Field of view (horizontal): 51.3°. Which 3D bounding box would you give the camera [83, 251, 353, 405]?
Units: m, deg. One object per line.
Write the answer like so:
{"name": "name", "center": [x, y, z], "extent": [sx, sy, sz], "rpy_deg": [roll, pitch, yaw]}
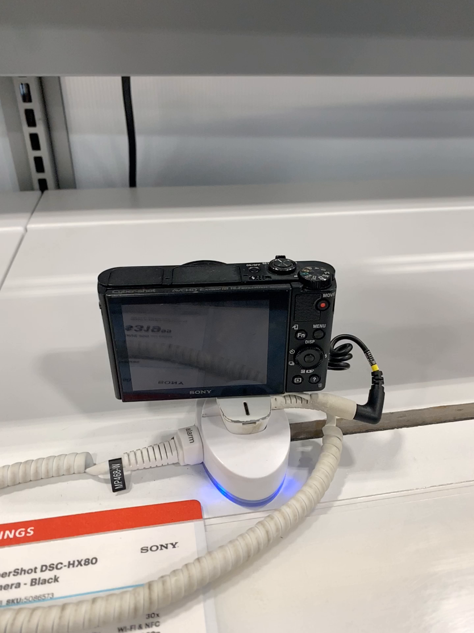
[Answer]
{"name": "camera", "center": [-0.009, 0.004, 0.220], "extent": [0.104, 0.052, 0.040], "rpy_deg": [-1, 32, -6]}
